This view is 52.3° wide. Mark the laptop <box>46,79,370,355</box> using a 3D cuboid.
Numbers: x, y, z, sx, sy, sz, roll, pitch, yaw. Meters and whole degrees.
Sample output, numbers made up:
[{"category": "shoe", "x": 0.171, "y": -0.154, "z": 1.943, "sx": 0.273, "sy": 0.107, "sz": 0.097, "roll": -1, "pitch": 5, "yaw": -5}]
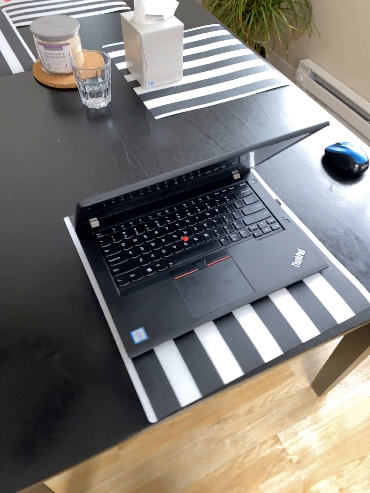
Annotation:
[{"category": "laptop", "x": 0.028, "y": -0.053, "z": 0.502, "sx": 0.321, "sy": 0.175, "sz": 0.221, "roll": -21, "pitch": 56, "yaw": -18}]
